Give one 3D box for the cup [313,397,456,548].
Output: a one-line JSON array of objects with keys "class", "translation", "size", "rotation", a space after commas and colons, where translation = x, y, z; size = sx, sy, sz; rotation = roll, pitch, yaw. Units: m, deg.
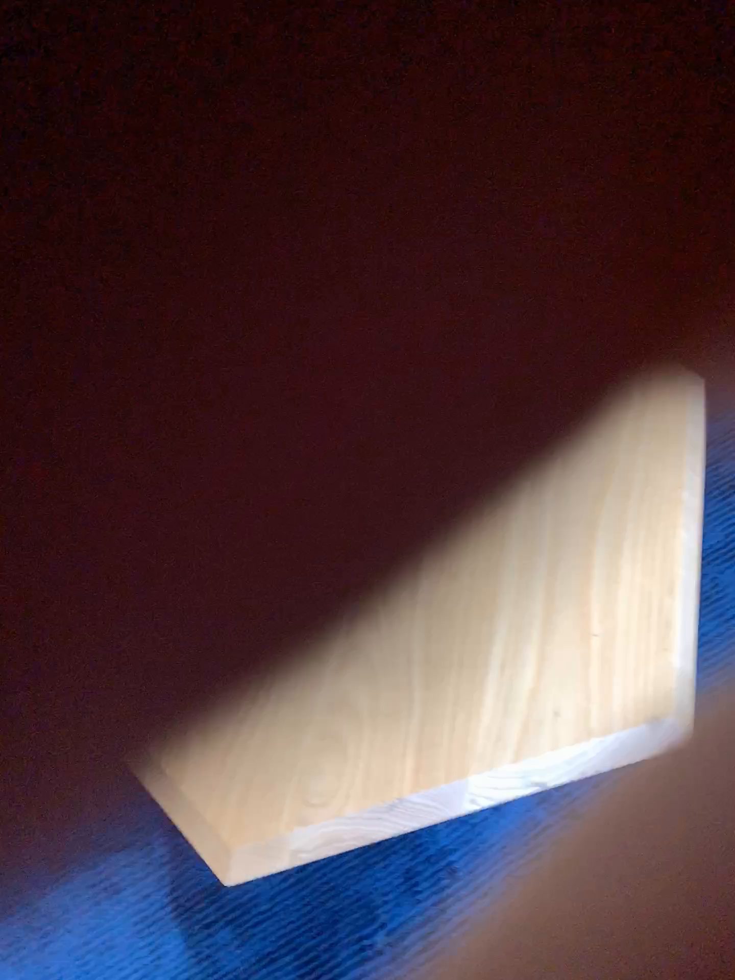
[{"class": "cup", "translation": [0.017, -0.017, 0.766], "size": [0.110, 0.080, 0.090], "rotation": [-24, 62, -11]}]
